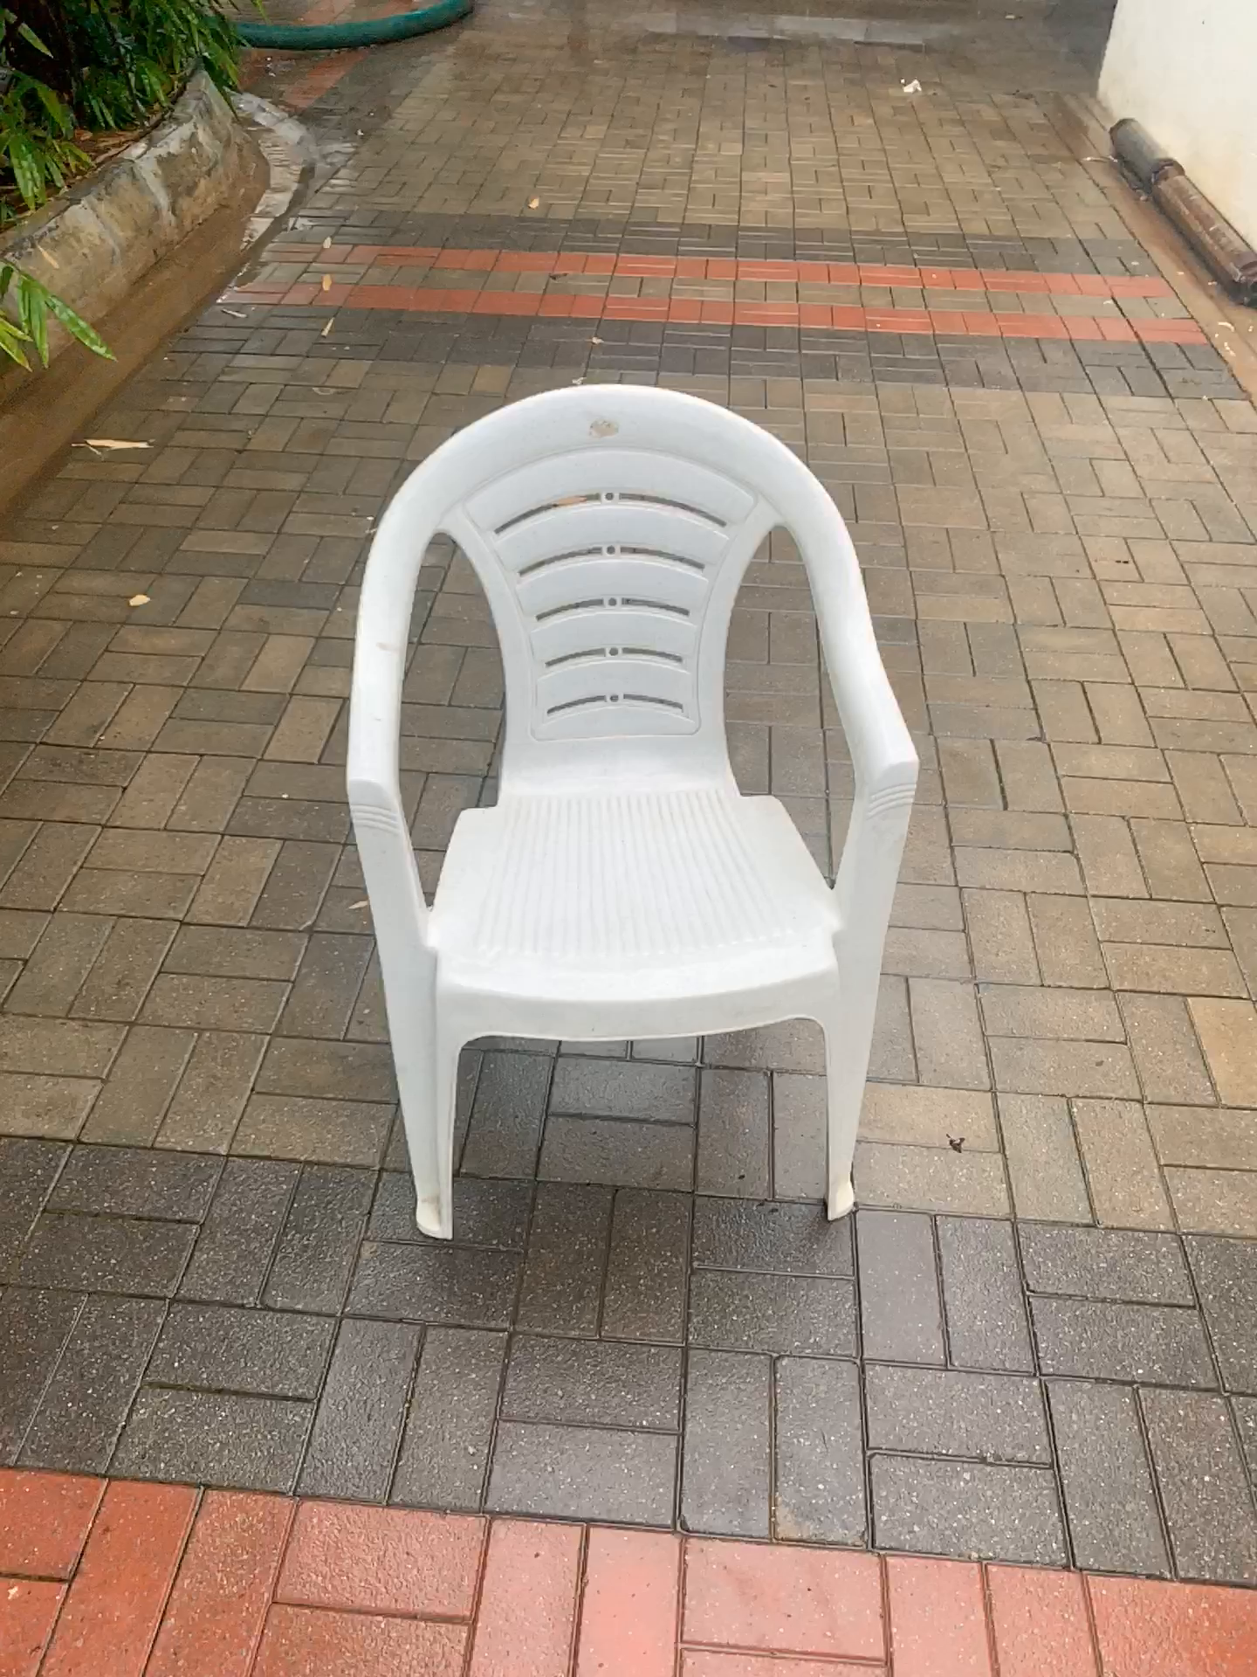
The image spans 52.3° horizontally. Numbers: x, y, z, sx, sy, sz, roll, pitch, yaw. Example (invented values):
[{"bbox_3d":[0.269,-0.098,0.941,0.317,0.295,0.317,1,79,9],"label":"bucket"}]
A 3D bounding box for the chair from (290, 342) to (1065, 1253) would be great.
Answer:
[{"bbox_3d":[0.005,-0.039,1.386,0.560,0.777,0.572,-2,41,-5],"label":"chair"}]
